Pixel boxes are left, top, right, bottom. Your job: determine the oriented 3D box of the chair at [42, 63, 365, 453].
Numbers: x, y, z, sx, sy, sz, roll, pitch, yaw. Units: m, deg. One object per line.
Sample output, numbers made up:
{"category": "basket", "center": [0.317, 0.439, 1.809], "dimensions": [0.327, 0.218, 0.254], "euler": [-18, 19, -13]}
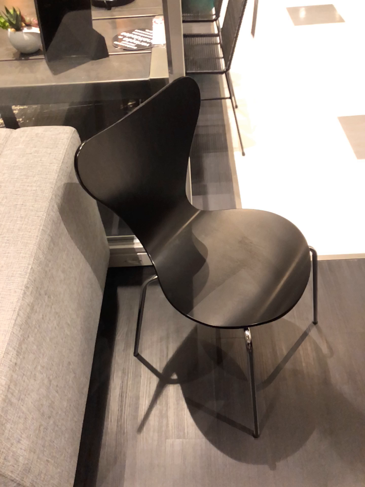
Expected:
{"category": "chair", "center": [0.108, 0.071, 1.073], "dimensions": [0.501, 0.805, 0.492], "euler": [25, 55, 24]}
